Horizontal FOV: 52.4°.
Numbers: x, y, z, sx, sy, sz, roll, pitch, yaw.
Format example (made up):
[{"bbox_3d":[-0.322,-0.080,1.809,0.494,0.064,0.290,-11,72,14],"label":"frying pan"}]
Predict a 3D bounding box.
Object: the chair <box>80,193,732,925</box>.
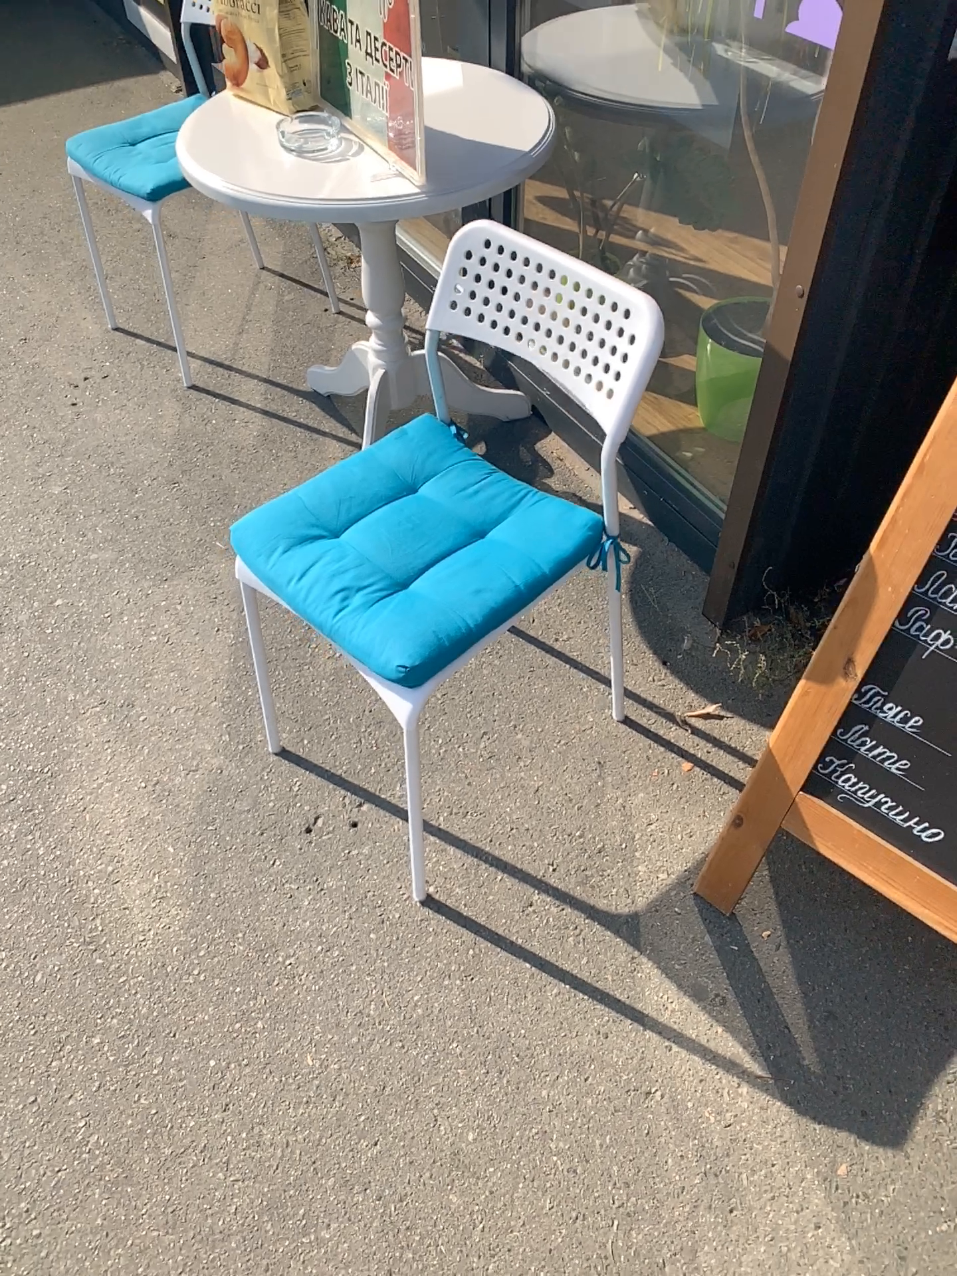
[{"bbox_3d":[-0.076,-0.104,1.336,0.541,0.697,0.481,-35,56,-28],"label":"chair"}]
